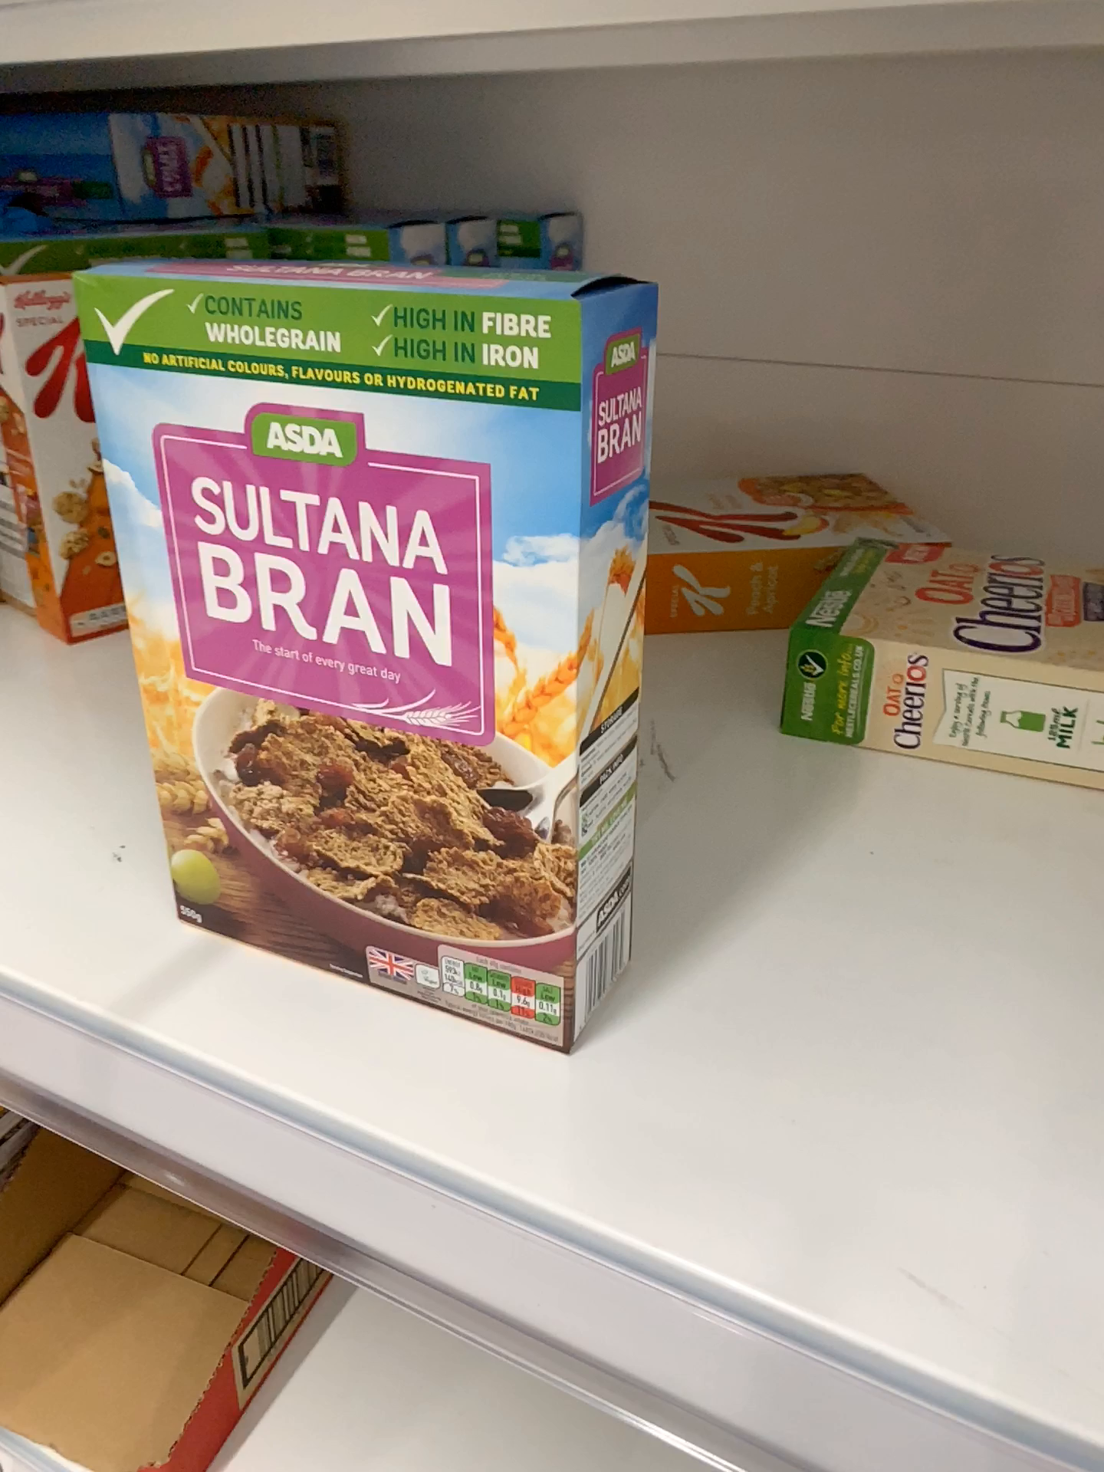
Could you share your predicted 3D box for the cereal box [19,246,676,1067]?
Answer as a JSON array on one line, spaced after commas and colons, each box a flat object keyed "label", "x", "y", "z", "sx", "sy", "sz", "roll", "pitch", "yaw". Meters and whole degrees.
[{"label": "cereal box", "x": -0.069, "y": -0.035, "z": 0.428, "sx": 0.210, "sy": 0.268, "sz": 0.071, "roll": 12, "pitch": 29, "yaw": 24}]
